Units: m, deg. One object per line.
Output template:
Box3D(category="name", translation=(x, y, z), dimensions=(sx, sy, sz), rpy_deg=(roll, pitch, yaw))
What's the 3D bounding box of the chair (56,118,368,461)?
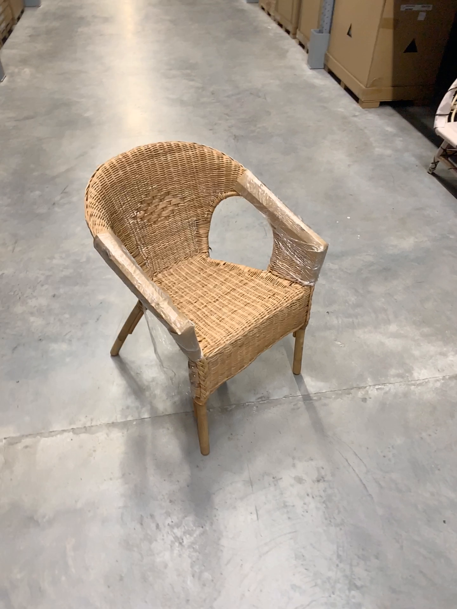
Box3D(category="chair", translation=(-0.061, -0.076, 1.566), dimensions=(0.601, 0.757, 0.651), rpy_deg=(-31, 52, -30))
